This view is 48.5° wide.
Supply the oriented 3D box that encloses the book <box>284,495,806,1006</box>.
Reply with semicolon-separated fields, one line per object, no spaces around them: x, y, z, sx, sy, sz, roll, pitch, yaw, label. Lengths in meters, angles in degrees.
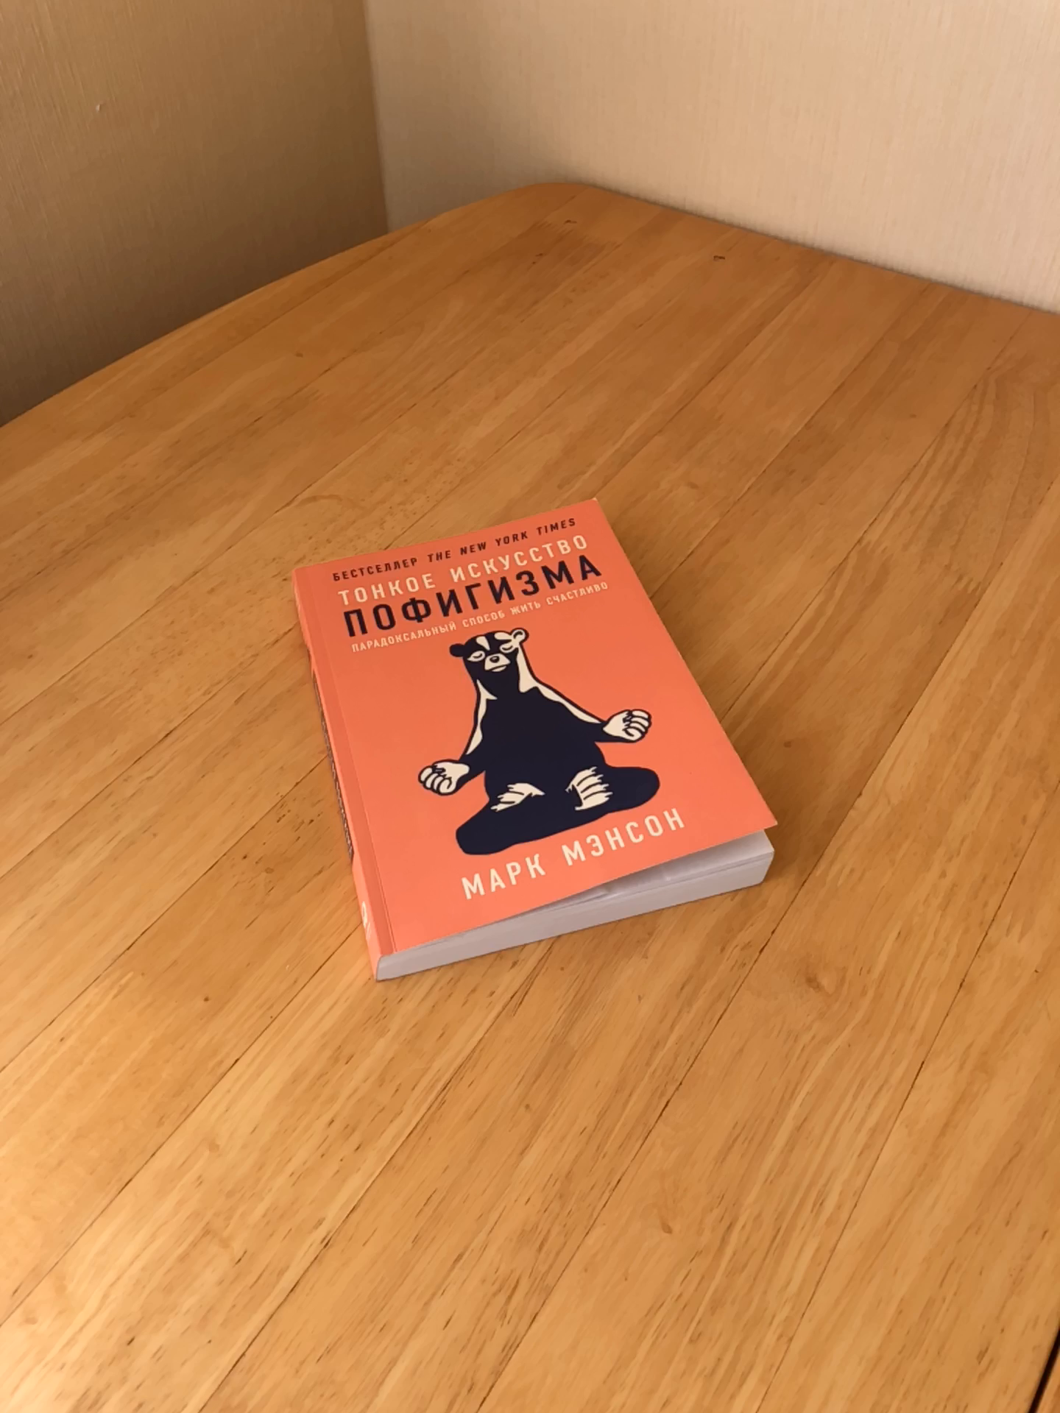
-0.006;0.002;0.451;0.143;0.033;0.197;-13;48;-11;book
